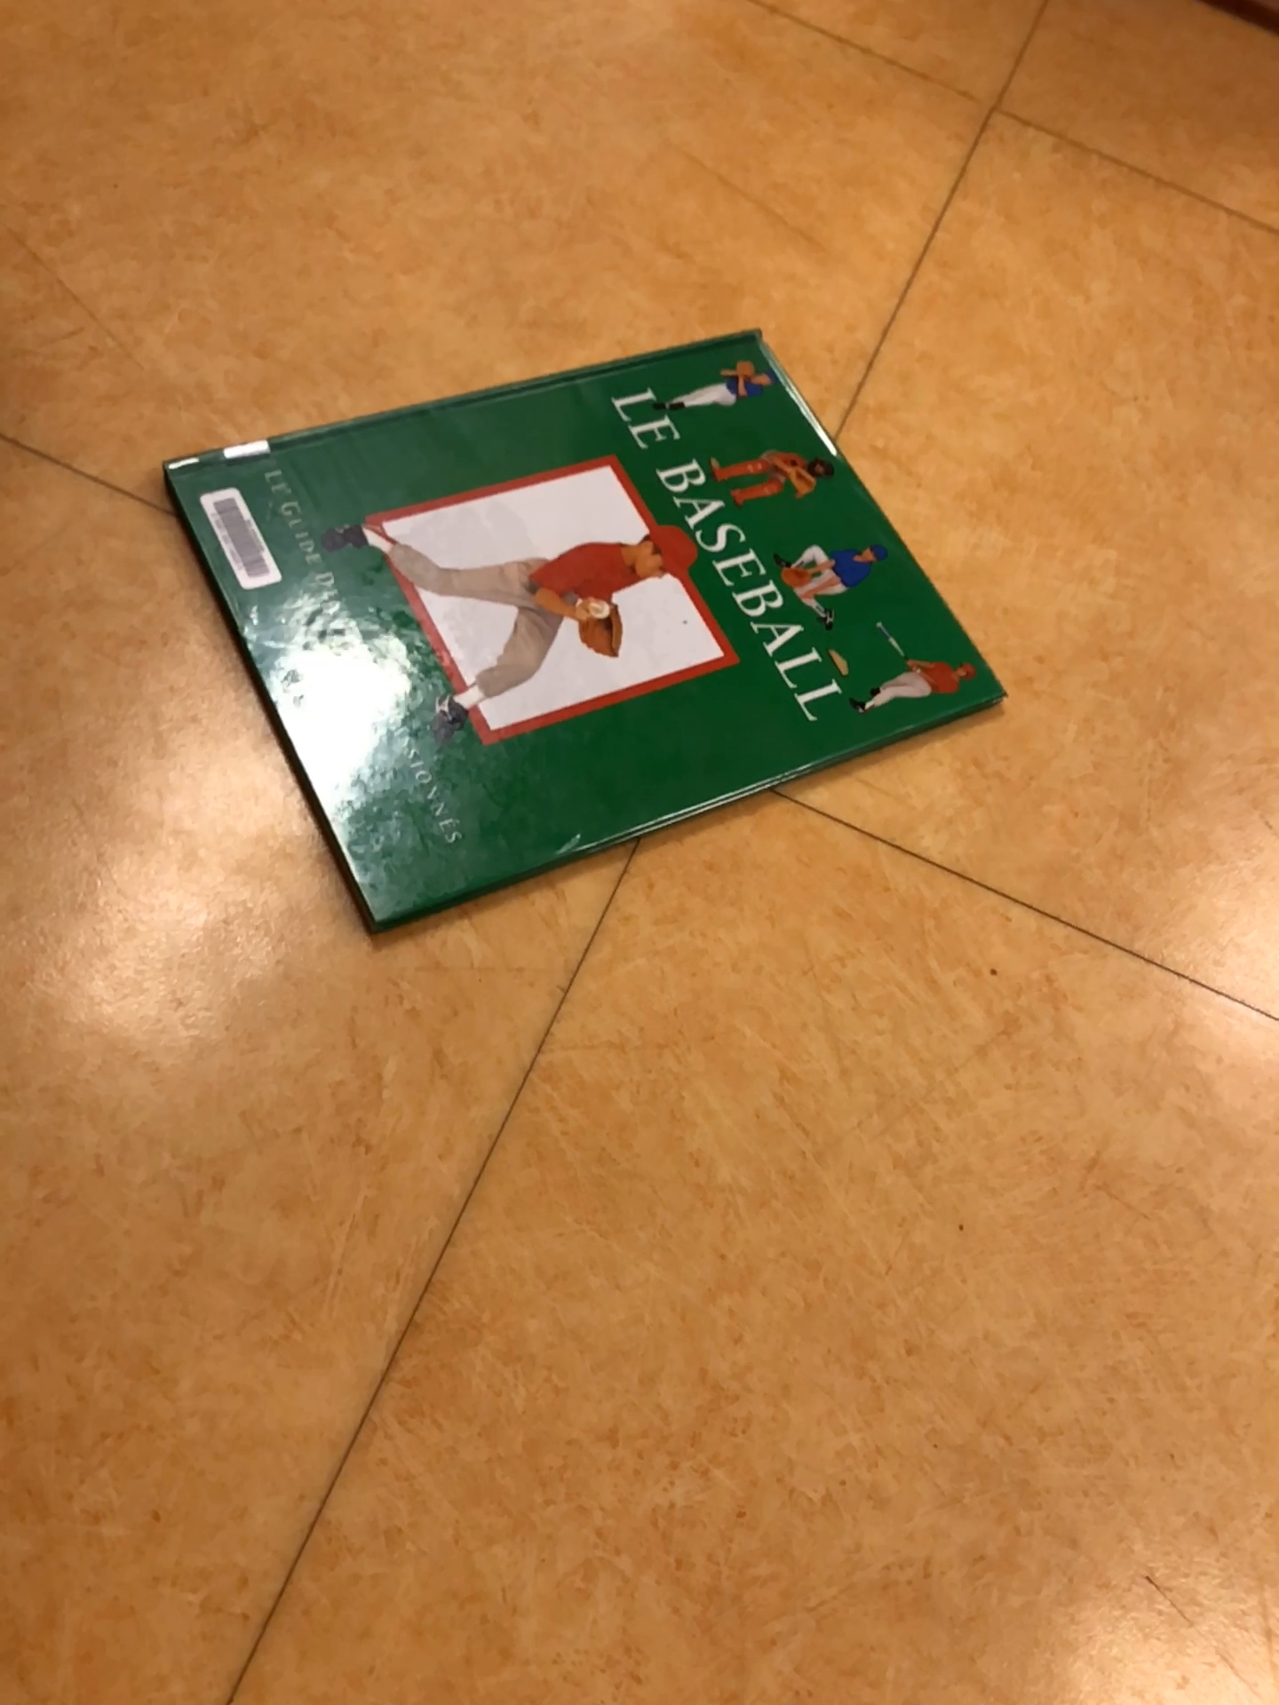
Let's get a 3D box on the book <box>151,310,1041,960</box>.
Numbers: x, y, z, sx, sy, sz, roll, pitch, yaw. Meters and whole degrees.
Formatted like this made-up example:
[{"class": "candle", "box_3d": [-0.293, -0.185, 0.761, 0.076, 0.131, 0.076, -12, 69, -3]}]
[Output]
[{"class": "book", "box_3d": [-0.014, -0.104, 0.553, 0.281, 0.020, 0.219, -20, 68, -22]}]
